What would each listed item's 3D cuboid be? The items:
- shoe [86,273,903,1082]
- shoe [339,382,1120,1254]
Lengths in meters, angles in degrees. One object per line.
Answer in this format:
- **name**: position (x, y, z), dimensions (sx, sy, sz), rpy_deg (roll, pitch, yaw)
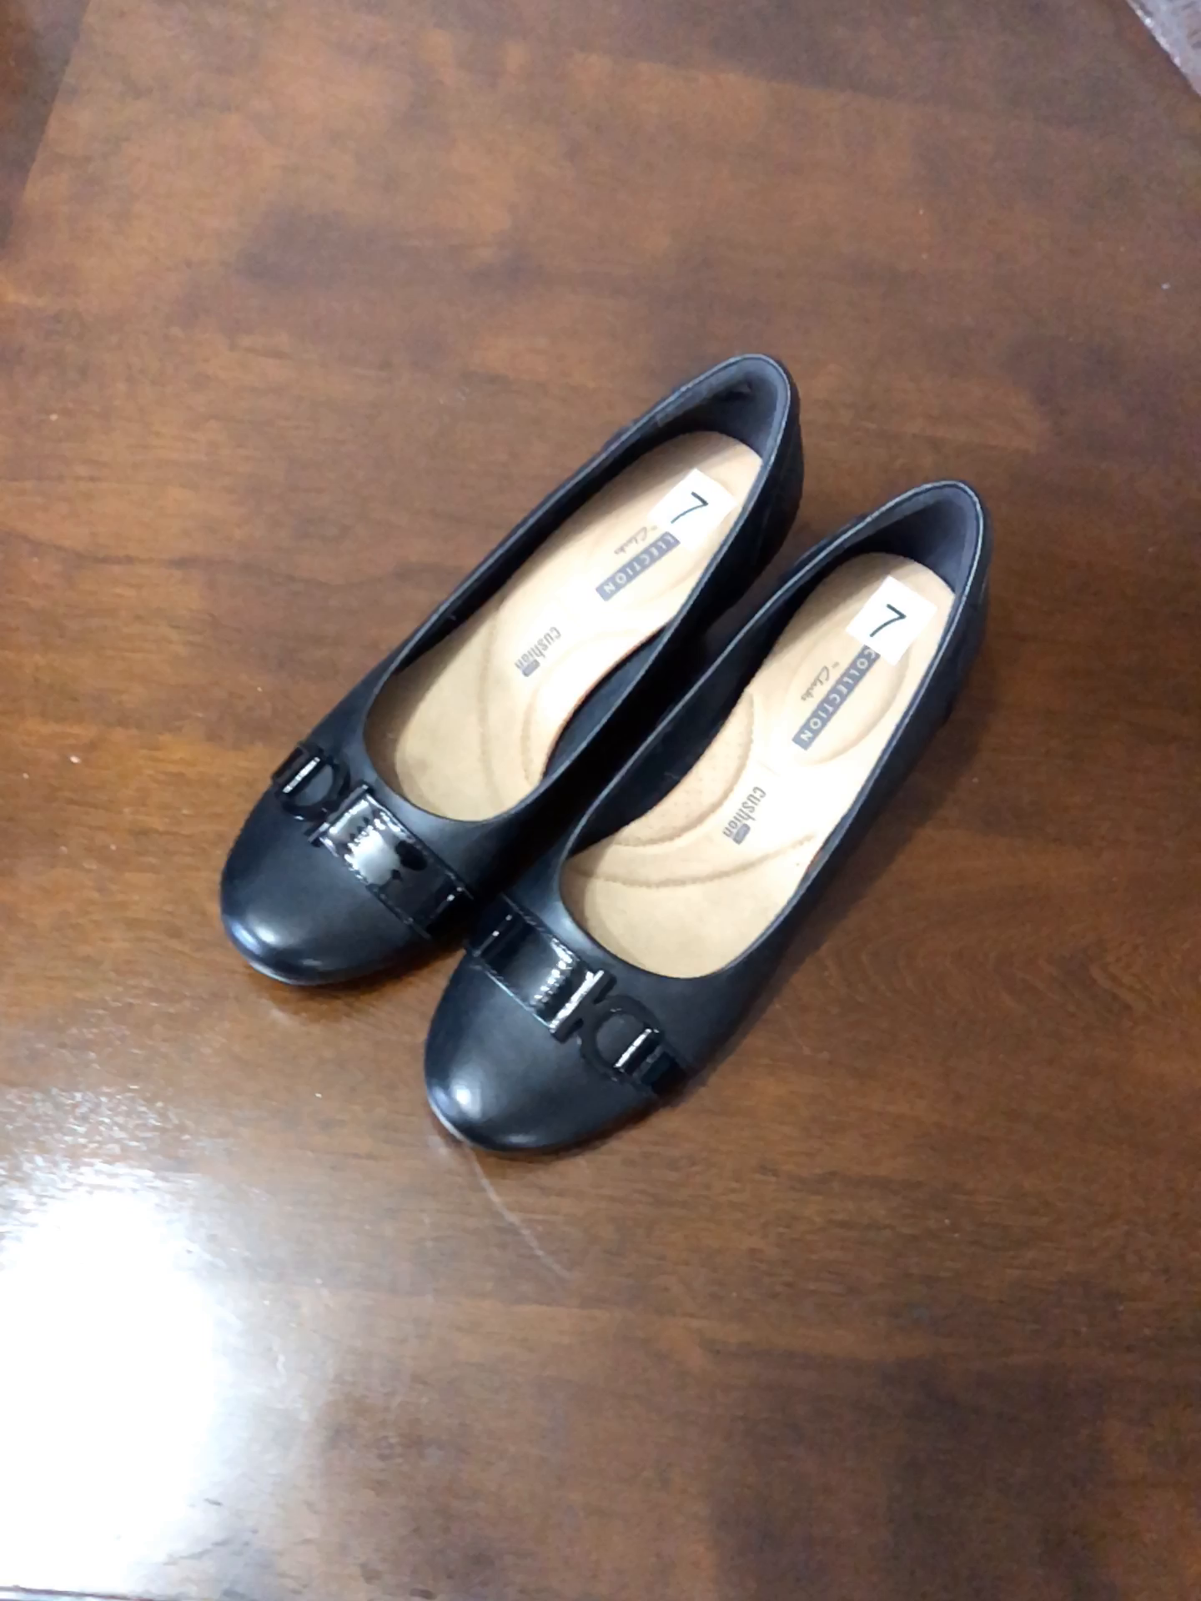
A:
- **shoe**: position (-0.025, -0.042, 0.436), dimensions (0.090, 0.110, 0.250), rpy_deg (40, 67, 10)
- **shoe**: position (0.041, 0.003, 0.415), dimensions (0.090, 0.110, 0.250), rpy_deg (37, 67, 9)
